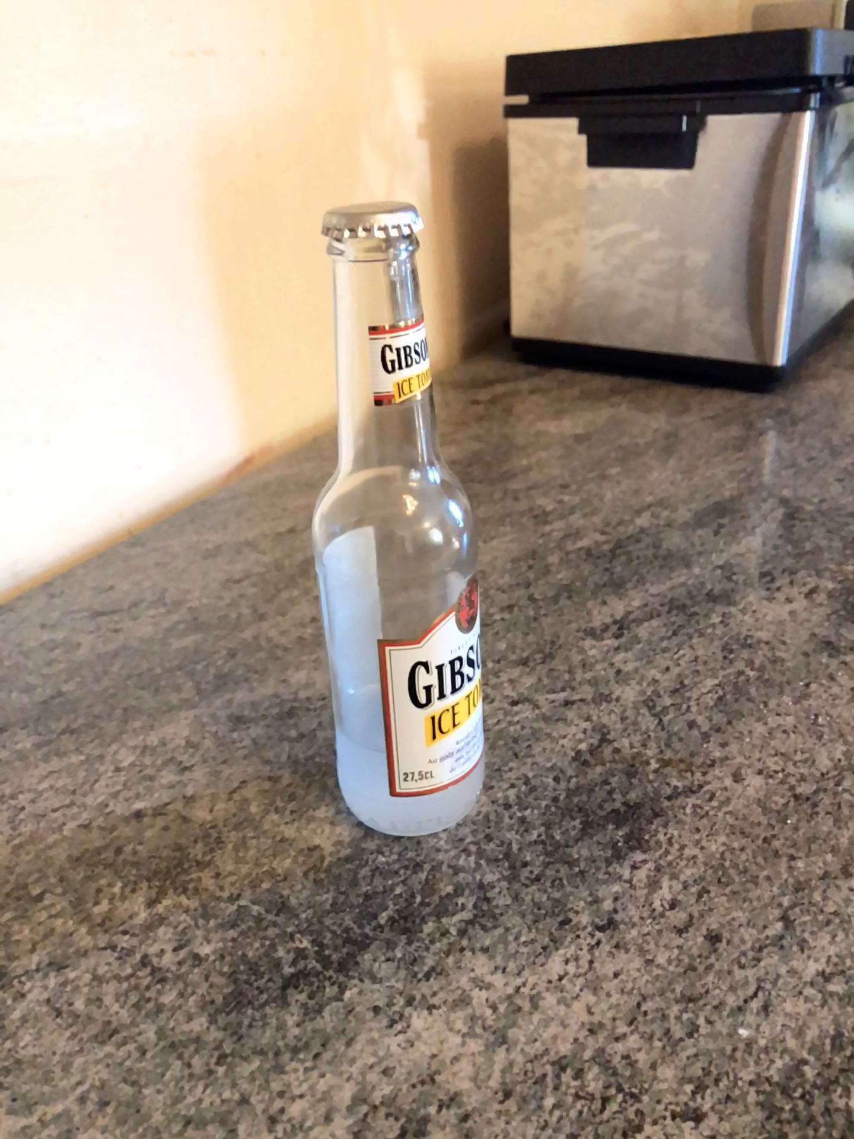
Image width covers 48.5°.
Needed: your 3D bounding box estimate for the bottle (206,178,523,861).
[{"bbox_3d":[-0.011,-0.014,0.316,0.060,0.209,0.070,10,30,26],"label":"bottle"}]
